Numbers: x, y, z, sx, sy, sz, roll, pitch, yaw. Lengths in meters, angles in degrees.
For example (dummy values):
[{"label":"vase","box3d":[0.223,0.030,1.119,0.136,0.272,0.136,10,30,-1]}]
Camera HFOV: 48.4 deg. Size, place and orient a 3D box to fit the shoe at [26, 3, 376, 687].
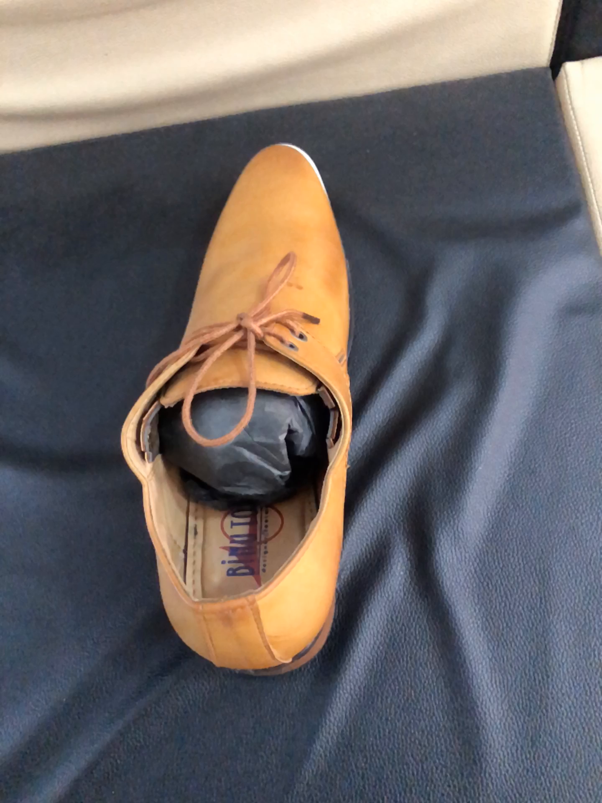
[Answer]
[{"label":"shoe","box3d":[-0.027,-0.030,0.317,0.110,0.100,0.300,-3,67,9]}]
